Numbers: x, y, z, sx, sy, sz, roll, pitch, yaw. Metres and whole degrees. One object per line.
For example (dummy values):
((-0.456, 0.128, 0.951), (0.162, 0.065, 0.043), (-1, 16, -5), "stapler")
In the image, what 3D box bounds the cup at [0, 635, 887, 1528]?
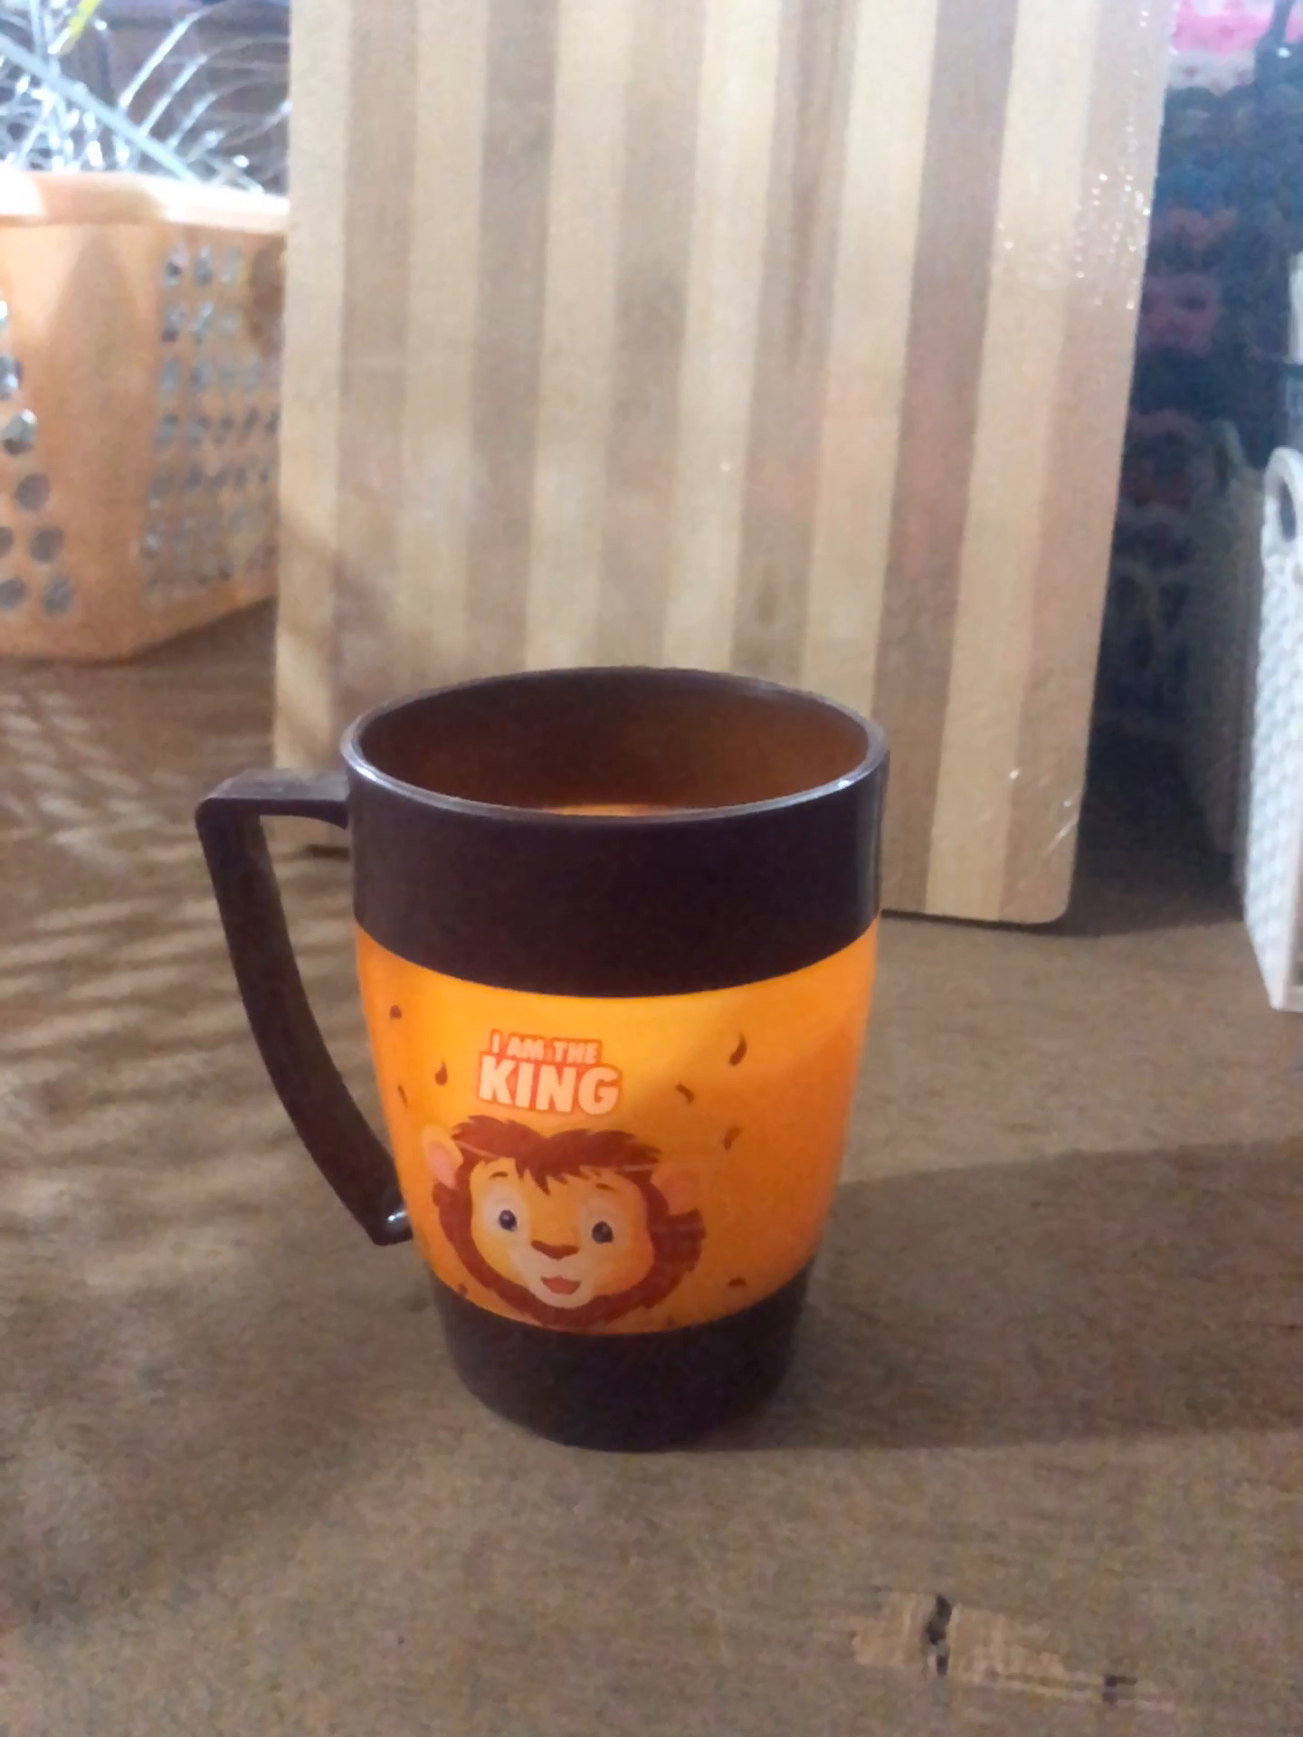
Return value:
((-0.024, 0.022, 0.199), (0.100, 0.090, 0.060), (6, 23, 15), "cup")
